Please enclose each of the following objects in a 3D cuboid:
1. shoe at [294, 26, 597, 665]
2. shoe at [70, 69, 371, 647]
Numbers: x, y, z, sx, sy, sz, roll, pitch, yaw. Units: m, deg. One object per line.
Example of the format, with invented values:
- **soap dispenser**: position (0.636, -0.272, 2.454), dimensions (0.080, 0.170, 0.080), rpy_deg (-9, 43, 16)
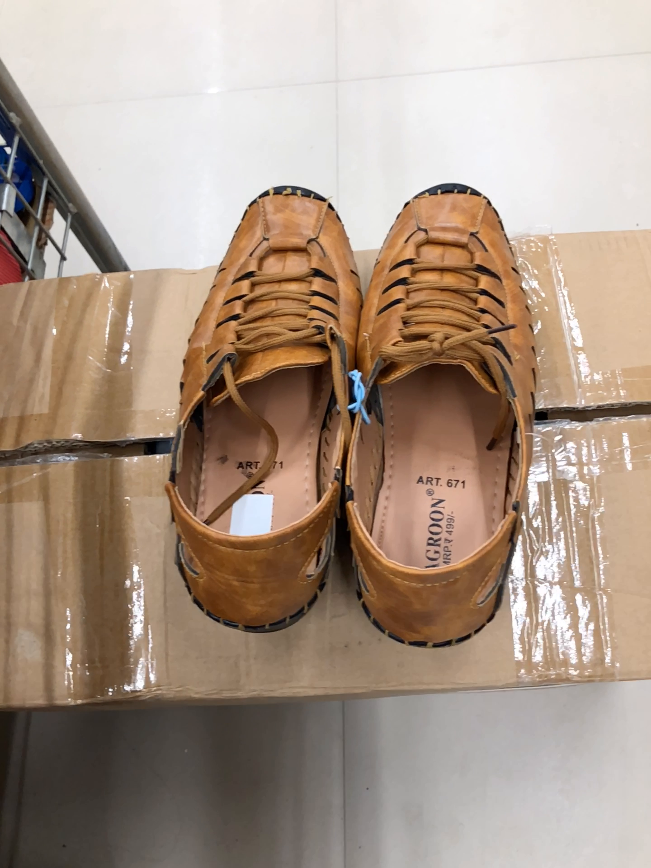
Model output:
- **shoe**: position (0.062, -0.046, 0.372), dimensions (0.110, 0.120, 0.301), rpy_deg (2, 69, 8)
- **shoe**: position (-0.037, -0.040, 0.398), dimensions (0.110, 0.120, 0.291), rpy_deg (0, 69, 7)
